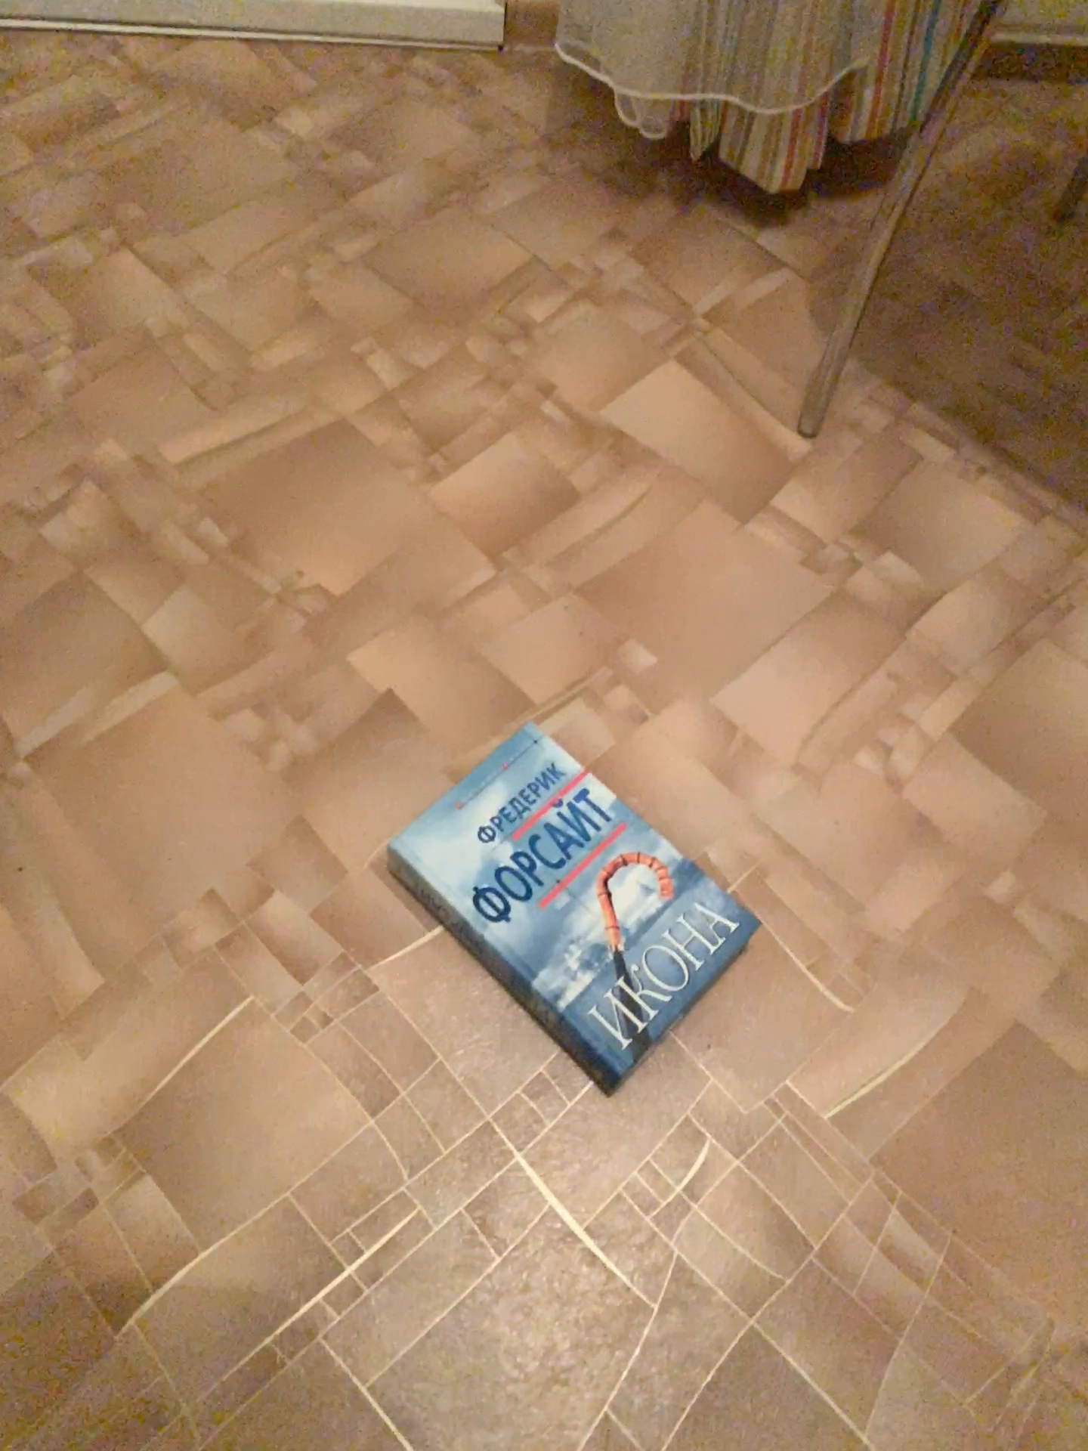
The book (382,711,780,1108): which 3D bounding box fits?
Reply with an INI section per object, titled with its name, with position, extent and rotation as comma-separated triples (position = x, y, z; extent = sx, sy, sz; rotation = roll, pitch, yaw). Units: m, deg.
[book]
position = 0.022, 0.119, 0.761
extent = 0.153, 0.056, 0.223
rotation = -40, 68, -21
